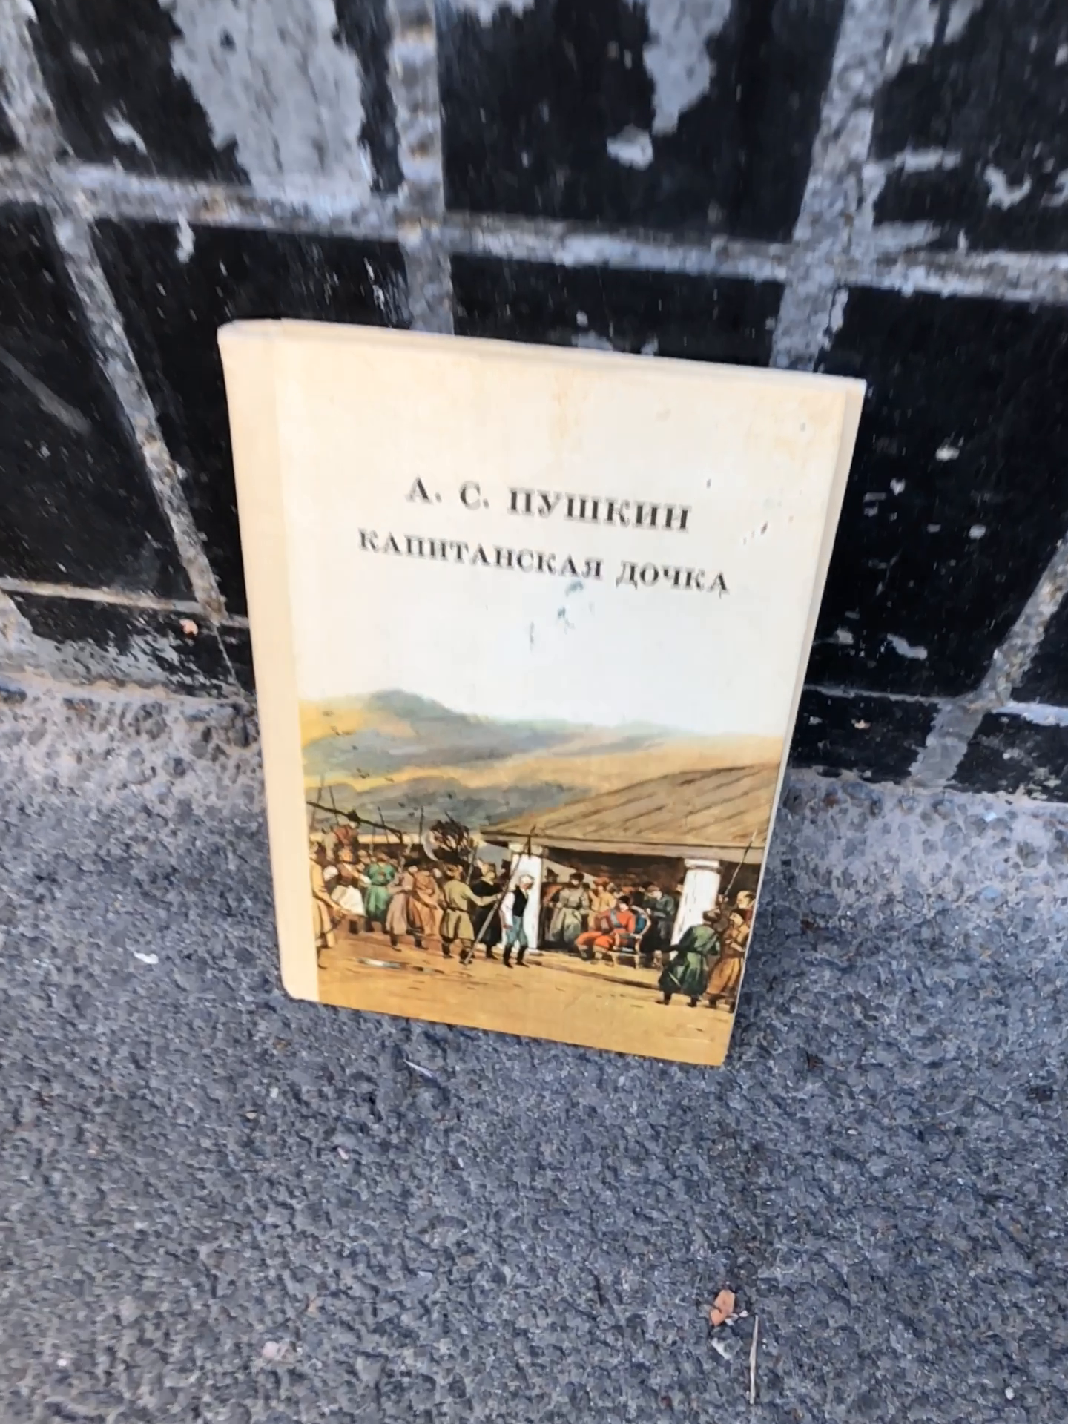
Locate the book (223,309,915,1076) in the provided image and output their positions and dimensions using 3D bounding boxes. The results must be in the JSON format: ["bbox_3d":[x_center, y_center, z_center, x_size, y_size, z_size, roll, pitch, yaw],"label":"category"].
[{"bbox_3d":[0.000,0.010,0.323,0.150,0.214,0.020,8,34,5],"label":"book"}]
